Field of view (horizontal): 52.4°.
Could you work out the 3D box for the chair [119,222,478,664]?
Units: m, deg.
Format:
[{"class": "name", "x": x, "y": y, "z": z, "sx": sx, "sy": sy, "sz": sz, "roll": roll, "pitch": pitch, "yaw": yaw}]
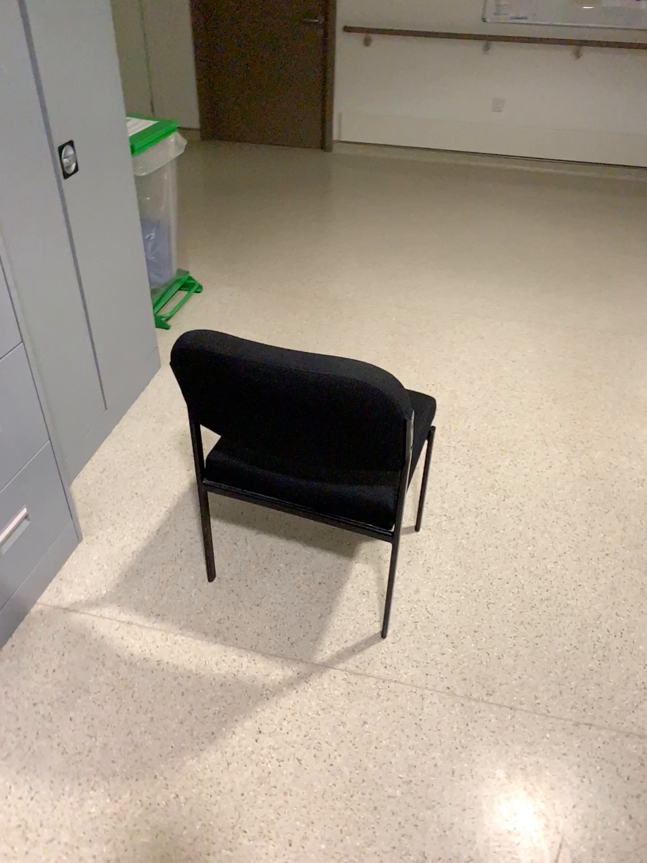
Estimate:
[{"class": "chair", "x": -0.026, "y": 0.016, "z": 1.725, "sx": 0.631, "sy": 0.851, "sz": 0.595, "roll": 13, "pitch": 39, "yaw": 14}]
